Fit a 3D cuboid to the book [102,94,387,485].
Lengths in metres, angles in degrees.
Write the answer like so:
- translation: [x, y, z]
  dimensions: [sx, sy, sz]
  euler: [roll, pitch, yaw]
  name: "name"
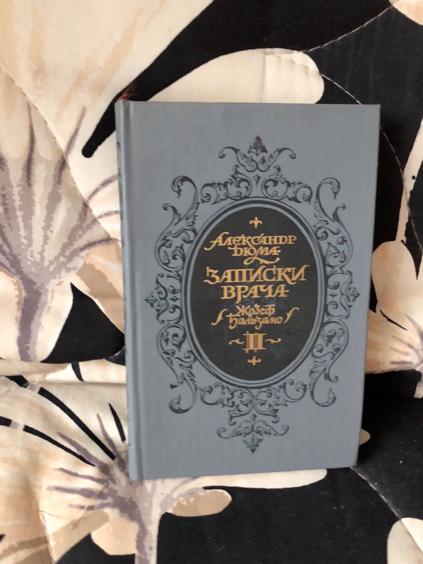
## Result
- translation: [0.018, 0.007, 0.264]
  dimensions: [0.140, 0.030, 0.206]
  euler: [-2, 101, -5]
  name: "book"
